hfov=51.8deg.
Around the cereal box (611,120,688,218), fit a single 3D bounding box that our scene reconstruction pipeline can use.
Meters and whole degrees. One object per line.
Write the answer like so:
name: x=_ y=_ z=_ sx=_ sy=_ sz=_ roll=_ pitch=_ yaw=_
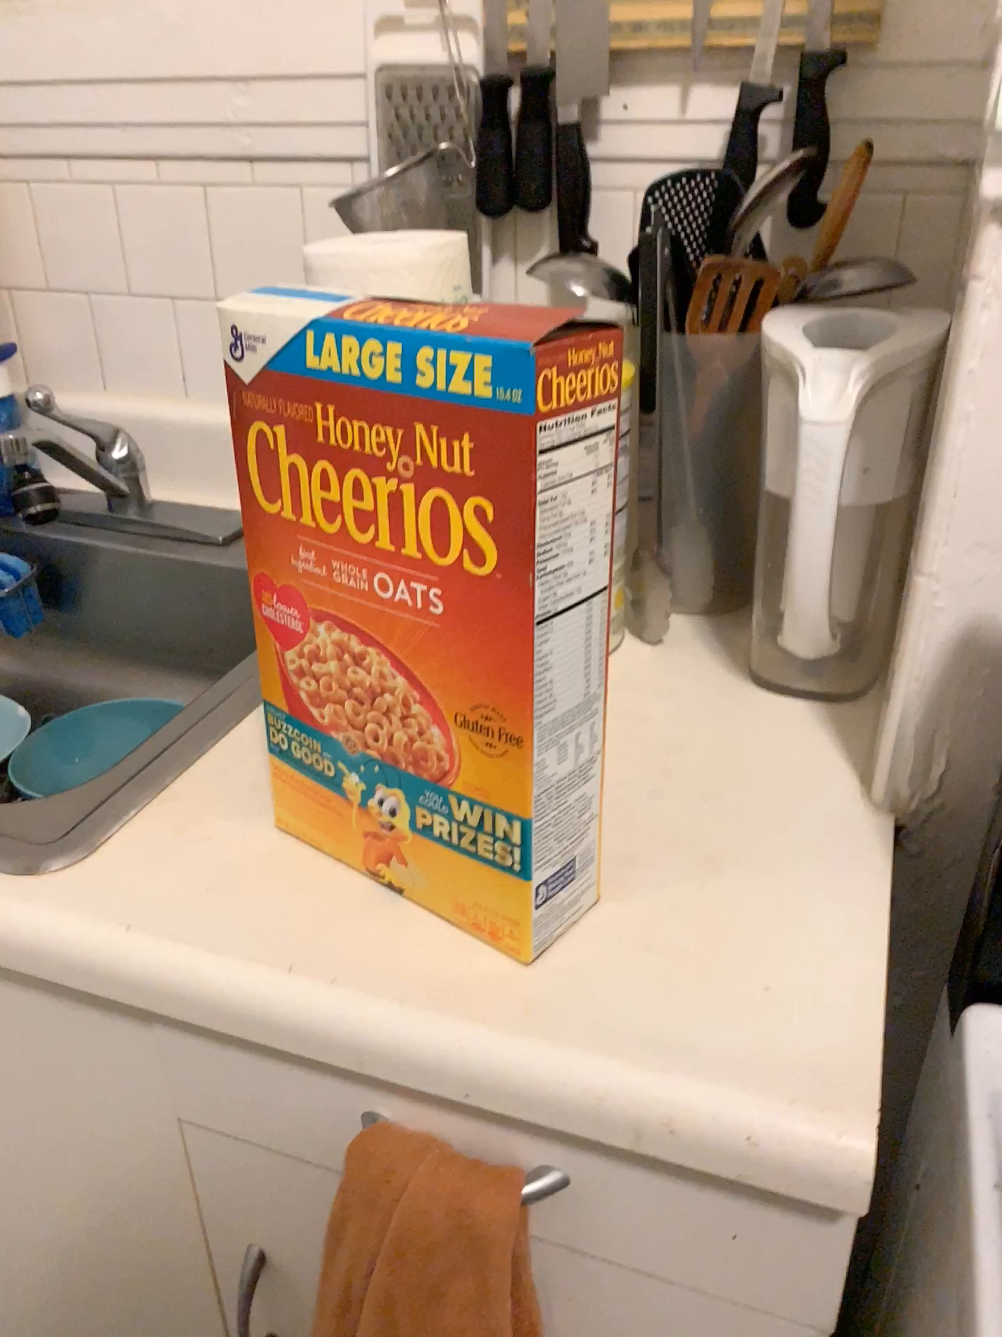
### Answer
cereal box: x=1.492 y=-5.043 z=10.408 sx=0.552 sy=0.865 sz=0.501 roll=20 pitch=34 yaw=33
